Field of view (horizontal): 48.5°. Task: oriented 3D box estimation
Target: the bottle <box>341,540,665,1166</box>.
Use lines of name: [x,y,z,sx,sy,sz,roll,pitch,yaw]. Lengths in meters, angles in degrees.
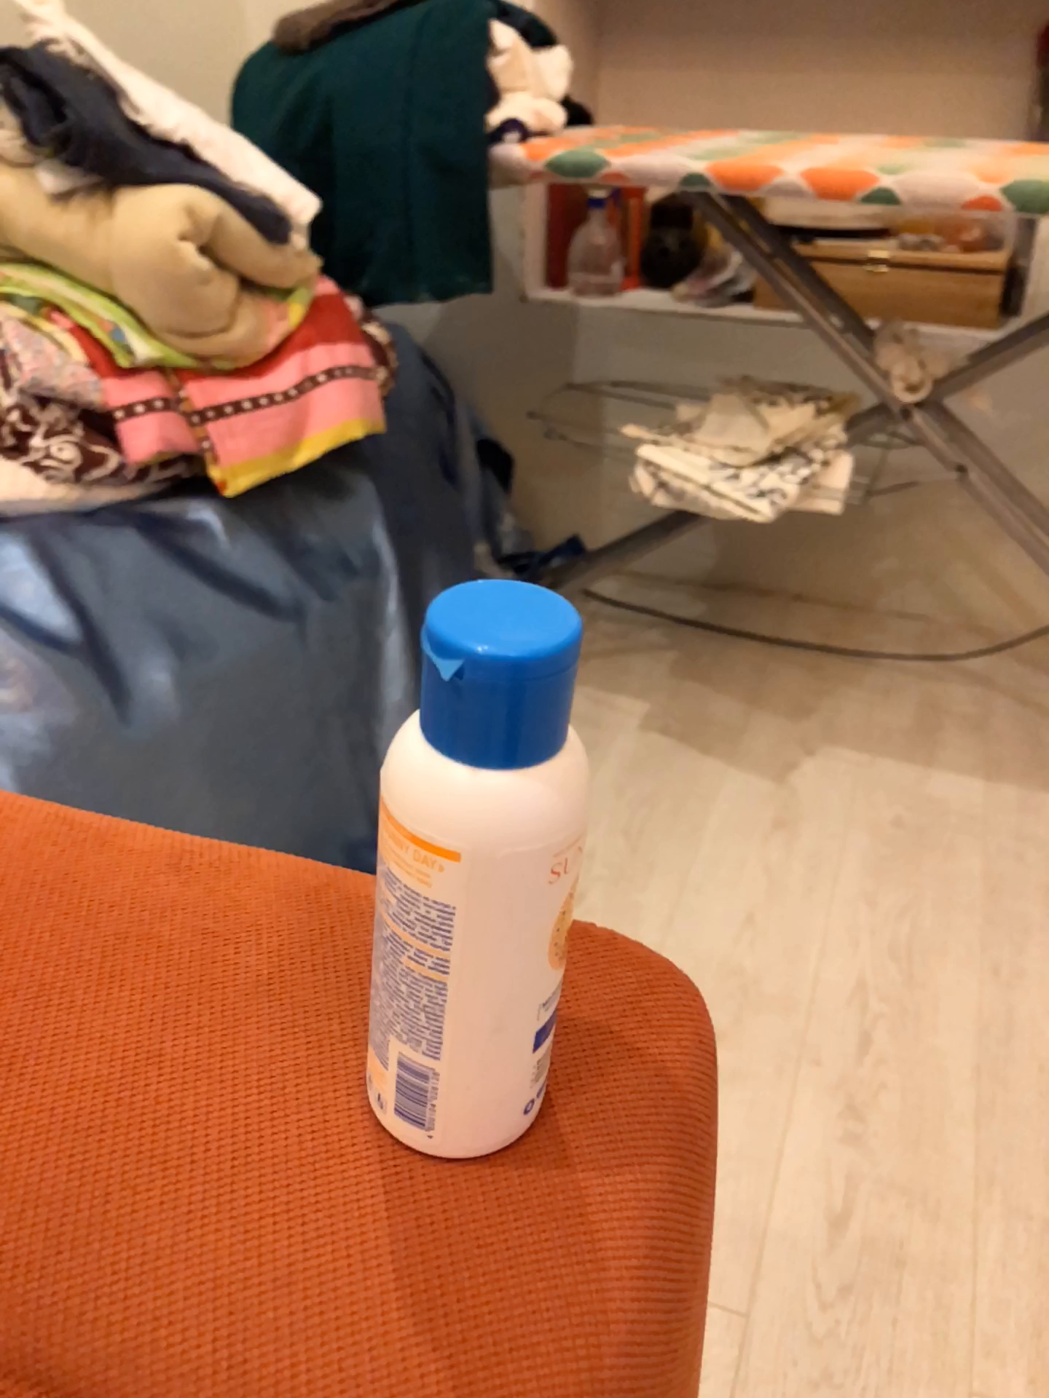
bottle: [-0.009,0.032,0.225,0.043,0.112,0.047,7,28,-4]
